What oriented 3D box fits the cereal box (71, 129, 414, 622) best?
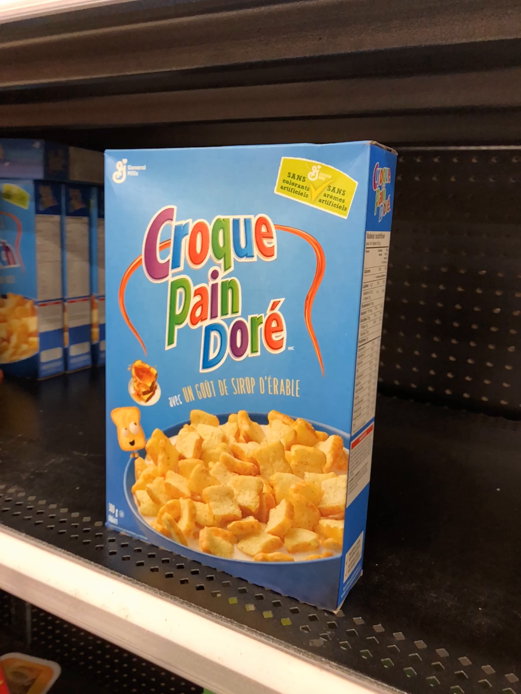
[{"bbox_3d":[-0.025,0.007,0.374,0.210,0.269,0.050,9,12,27],"label":"cereal box"}]
